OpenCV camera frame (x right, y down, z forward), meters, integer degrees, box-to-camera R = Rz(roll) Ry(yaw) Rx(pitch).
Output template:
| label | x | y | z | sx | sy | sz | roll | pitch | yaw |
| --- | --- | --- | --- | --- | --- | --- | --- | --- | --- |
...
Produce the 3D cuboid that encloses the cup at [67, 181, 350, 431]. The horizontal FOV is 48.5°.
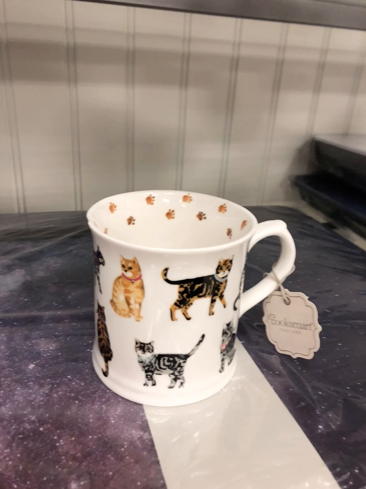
| label | x | y | z | sx | sy | sz | roll | pitch | yaw |
| --- | --- | --- | --- | --- | --- | --- | --- | --- | --- |
| cup | 0.006 | 0.025 | 0.255 | 0.137 | 0.099 | 0.096 | -6 | 26 | -20 |
